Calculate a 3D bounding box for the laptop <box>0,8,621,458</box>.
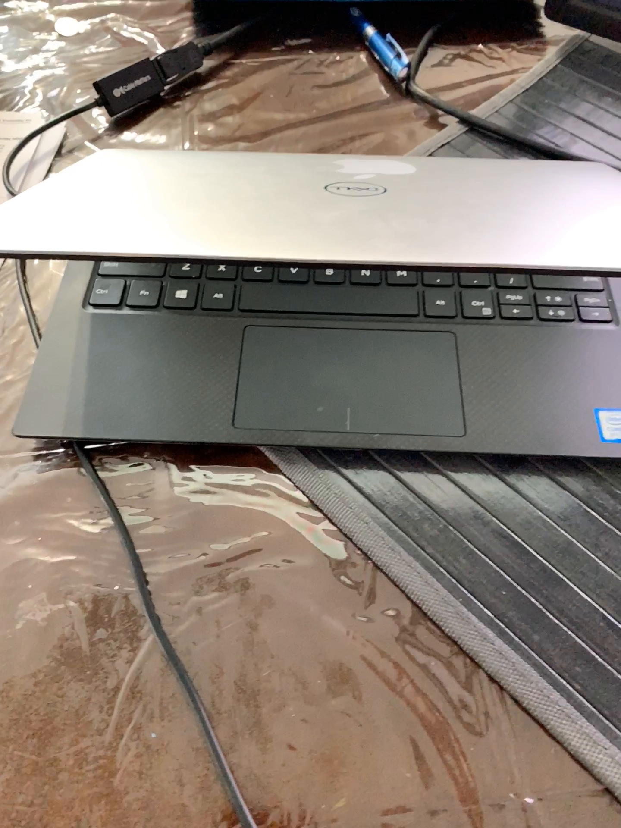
[{"bbox_3d":[0.021,-0.086,0.288,0.289,0.082,0.183,2,59,0],"label":"laptop"}]
